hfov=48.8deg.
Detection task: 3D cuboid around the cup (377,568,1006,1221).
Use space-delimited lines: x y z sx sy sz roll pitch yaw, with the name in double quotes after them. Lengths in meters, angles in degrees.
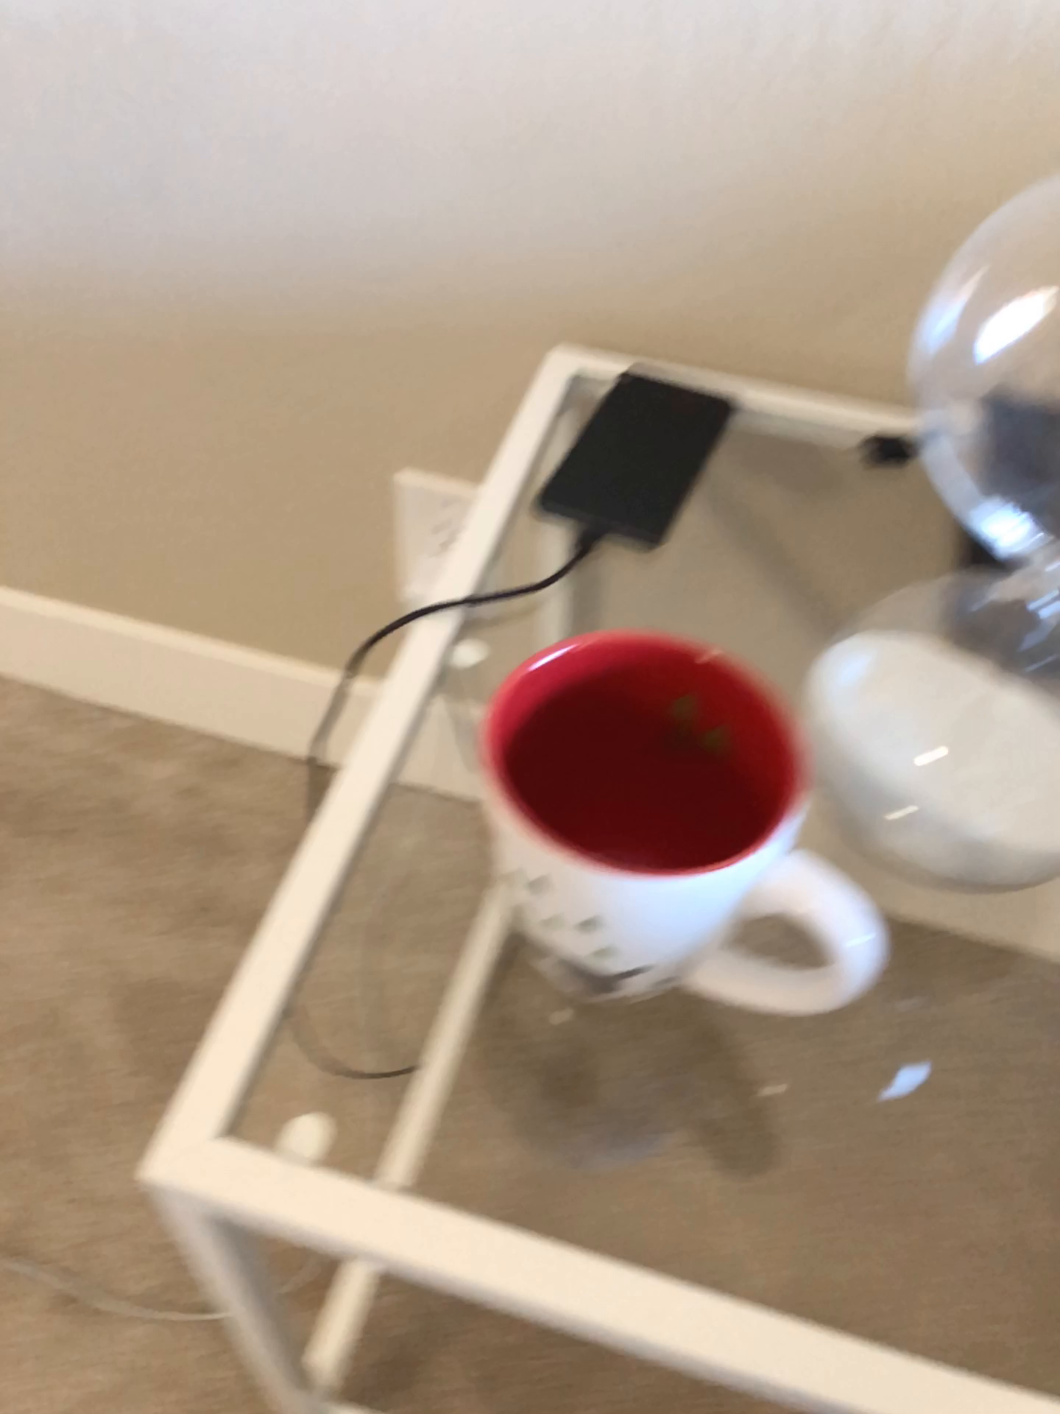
0.043 0.055 0.376 0.150 0.110 0.100 35 56 26 "cup"
